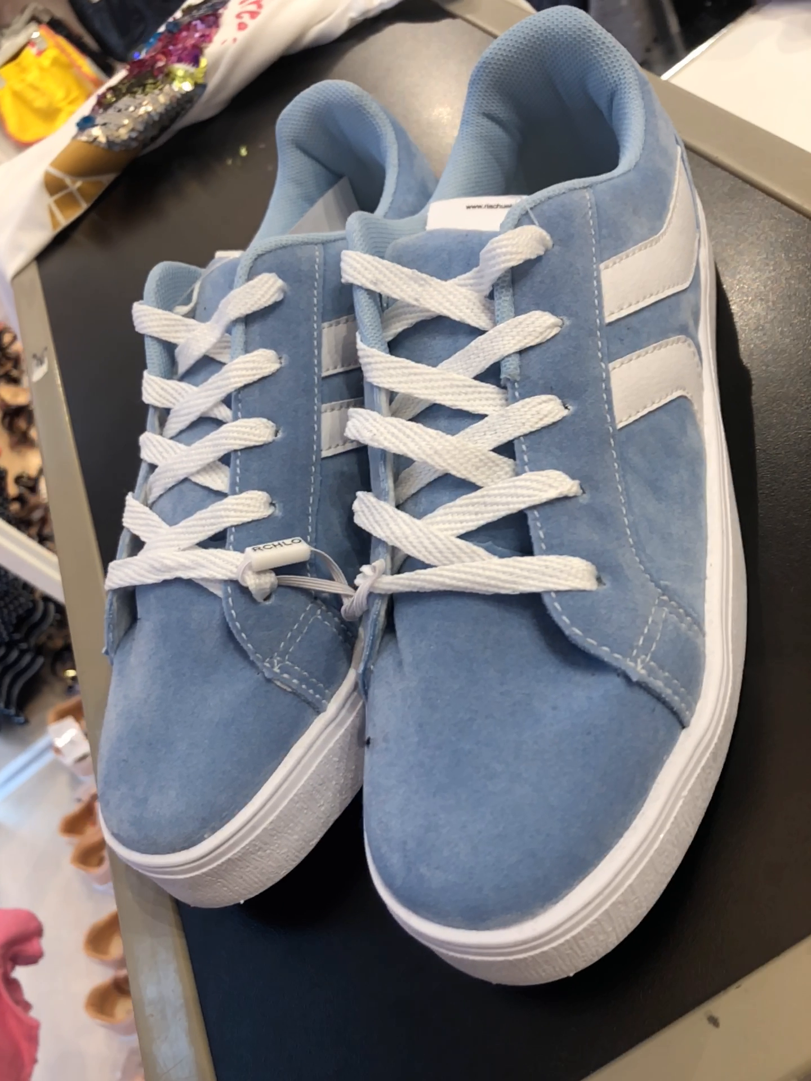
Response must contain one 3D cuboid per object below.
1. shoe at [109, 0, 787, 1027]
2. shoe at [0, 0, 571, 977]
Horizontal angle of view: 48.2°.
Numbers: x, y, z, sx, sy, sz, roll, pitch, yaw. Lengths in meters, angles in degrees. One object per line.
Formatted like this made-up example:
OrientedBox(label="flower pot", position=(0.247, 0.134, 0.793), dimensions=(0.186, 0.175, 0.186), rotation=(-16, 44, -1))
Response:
OrientedBox(label="shoe", position=(0.039, -0.019, 0.246), dimensions=(0.100, 0.119, 0.241), rotation=(-6, 56, 30))
OrientedBox(label="shoe", position=(-0.036, -0.019, 0.272), dimensions=(0.100, 0.119, 0.241), rotation=(-3, 57, 31))
